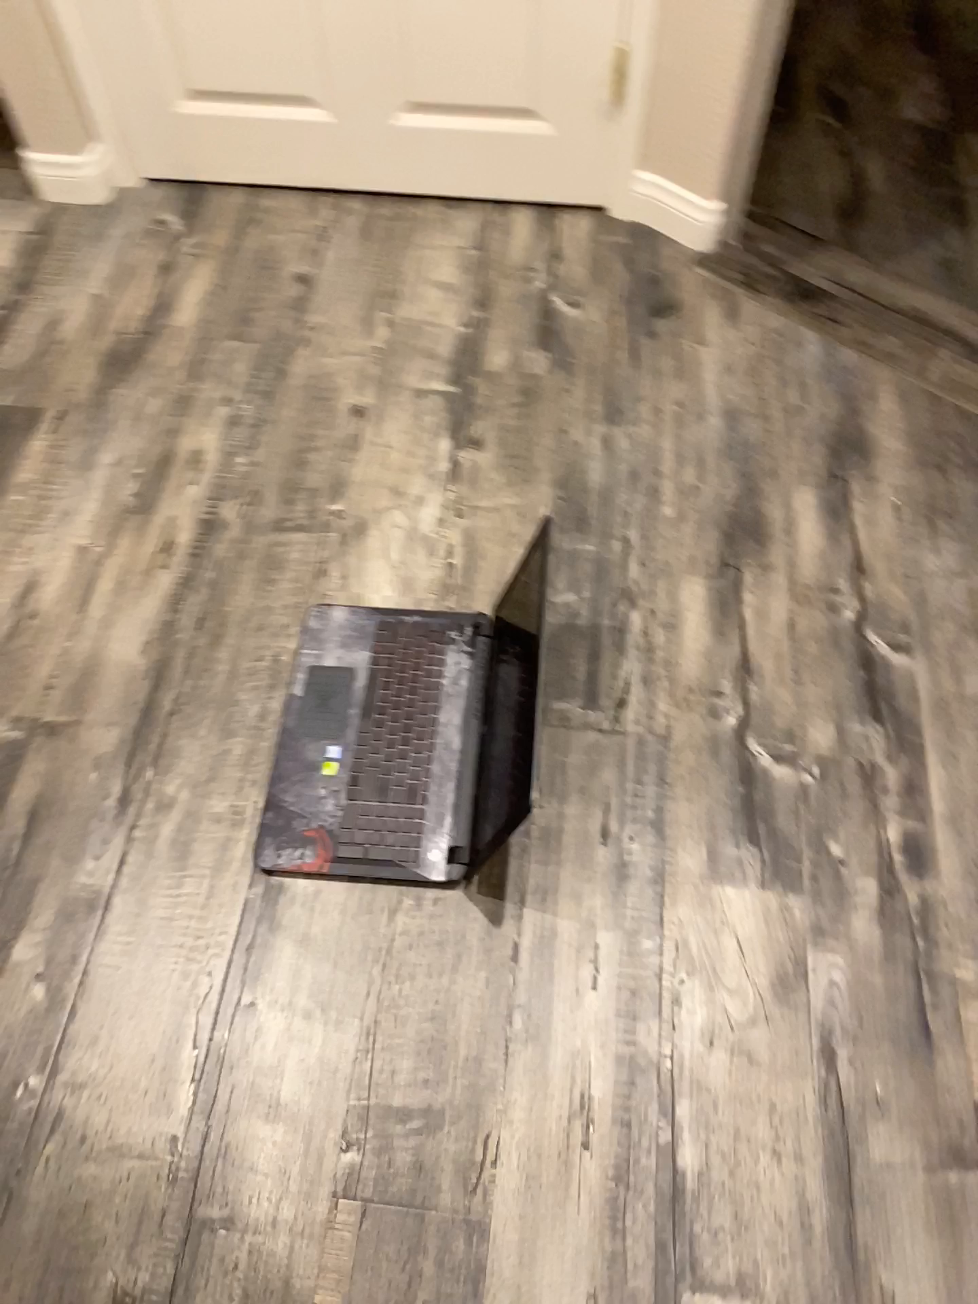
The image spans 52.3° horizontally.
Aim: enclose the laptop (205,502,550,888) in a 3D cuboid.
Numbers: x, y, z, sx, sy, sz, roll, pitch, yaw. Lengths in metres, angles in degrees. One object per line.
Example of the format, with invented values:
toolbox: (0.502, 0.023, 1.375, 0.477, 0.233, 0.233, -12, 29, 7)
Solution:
laptop: (-0.104, 0.047, 1.172, 0.327, 0.225, 0.372, 3, 57, 4)
